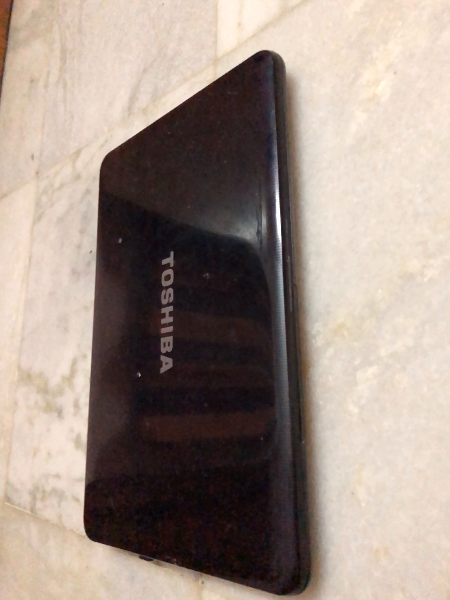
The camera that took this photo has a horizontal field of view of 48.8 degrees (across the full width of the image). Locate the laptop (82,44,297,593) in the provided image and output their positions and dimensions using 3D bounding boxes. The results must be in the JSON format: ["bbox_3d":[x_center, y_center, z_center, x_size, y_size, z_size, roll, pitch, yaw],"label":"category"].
[{"bbox_3d":[-0.044,0.009,0.395,0.225,0.004,0.359,-14,71,43],"label":"laptop"}]
